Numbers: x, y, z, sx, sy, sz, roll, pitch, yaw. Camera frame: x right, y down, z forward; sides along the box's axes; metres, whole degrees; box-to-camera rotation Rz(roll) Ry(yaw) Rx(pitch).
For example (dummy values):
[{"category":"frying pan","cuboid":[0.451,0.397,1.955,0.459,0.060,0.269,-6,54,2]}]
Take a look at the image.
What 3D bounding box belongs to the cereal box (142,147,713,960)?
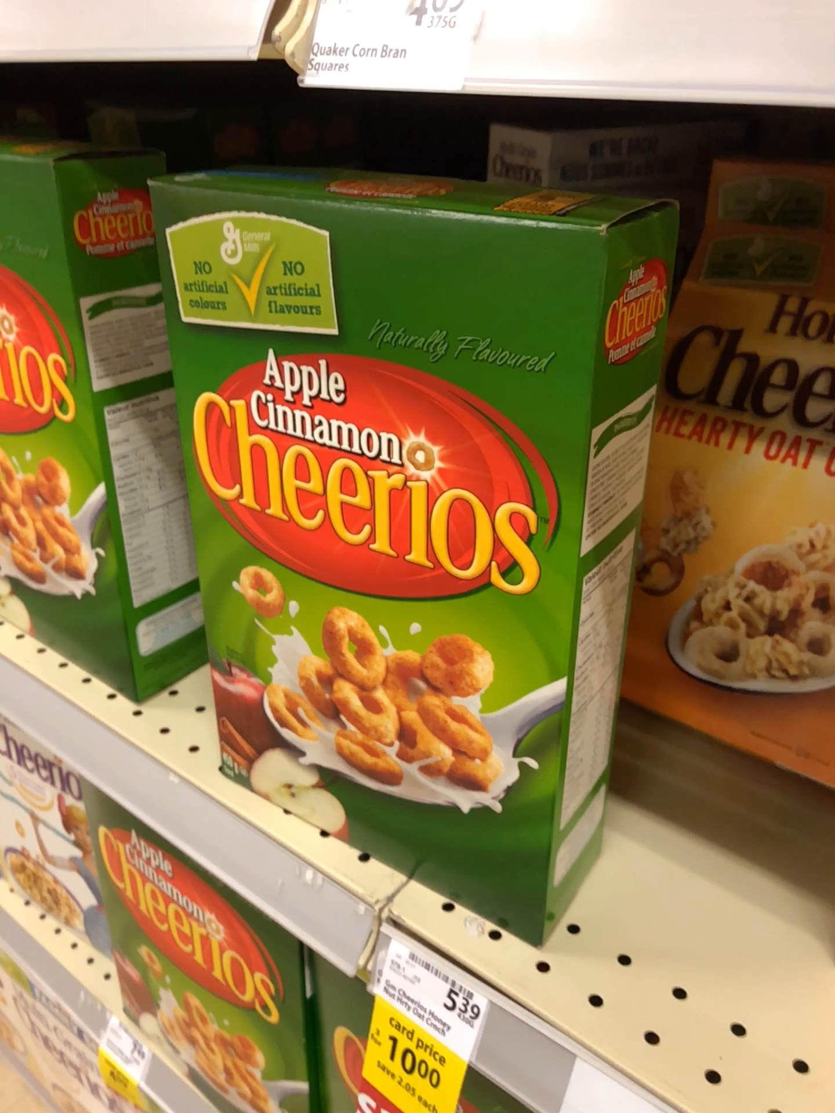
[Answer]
[{"category":"cereal box","cuboid":[-0.005,-0.003,0.403,0.201,0.308,0.070,18,32,30]}]
